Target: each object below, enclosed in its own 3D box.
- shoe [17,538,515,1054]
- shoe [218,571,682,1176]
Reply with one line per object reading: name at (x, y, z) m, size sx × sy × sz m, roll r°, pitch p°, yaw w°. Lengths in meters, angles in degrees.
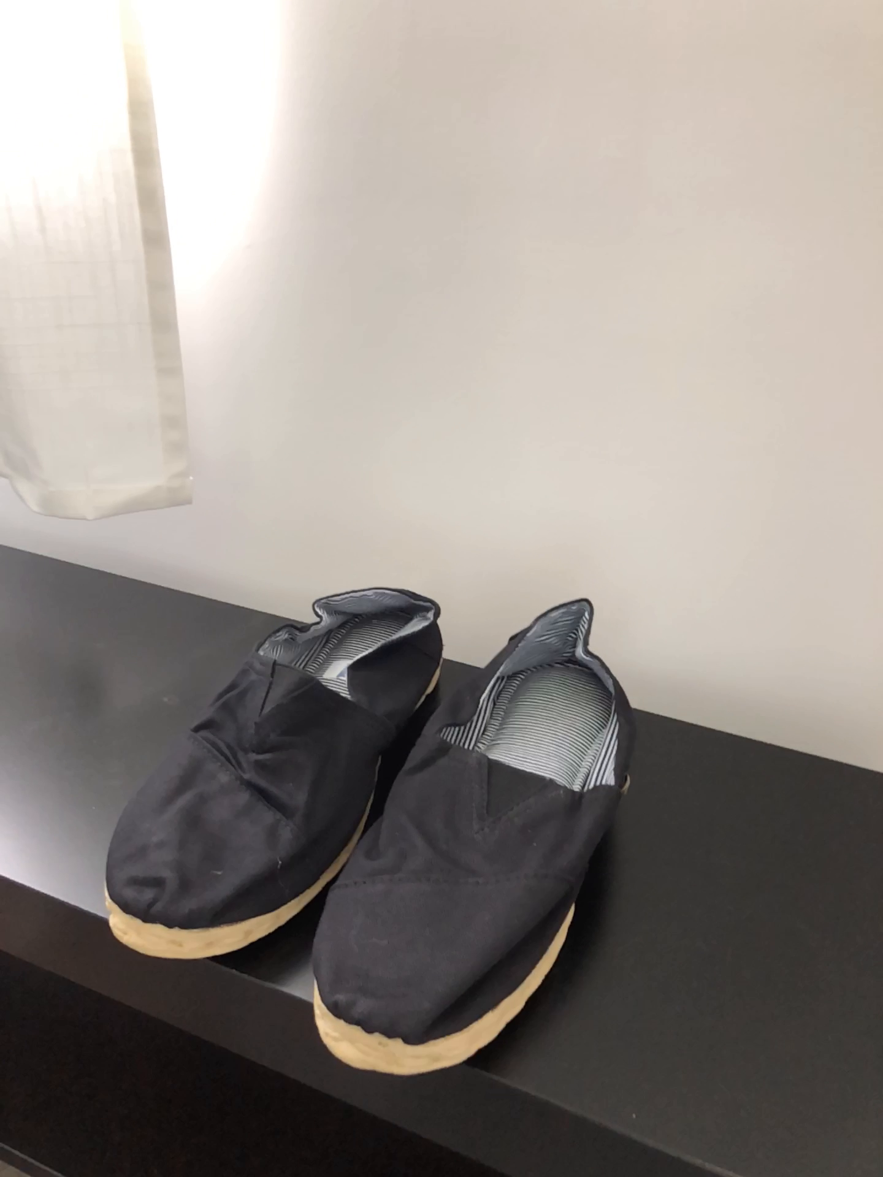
shoe at (-0.060, 0.072, 0.476) m, size 0.101 × 0.080 × 0.274 m, roll 13°, pitch 29°, yaw 19°
shoe at (0.025, 0.093, 0.434) m, size 0.101 × 0.080 × 0.274 m, roll 13°, pitch 29°, yaw 19°
